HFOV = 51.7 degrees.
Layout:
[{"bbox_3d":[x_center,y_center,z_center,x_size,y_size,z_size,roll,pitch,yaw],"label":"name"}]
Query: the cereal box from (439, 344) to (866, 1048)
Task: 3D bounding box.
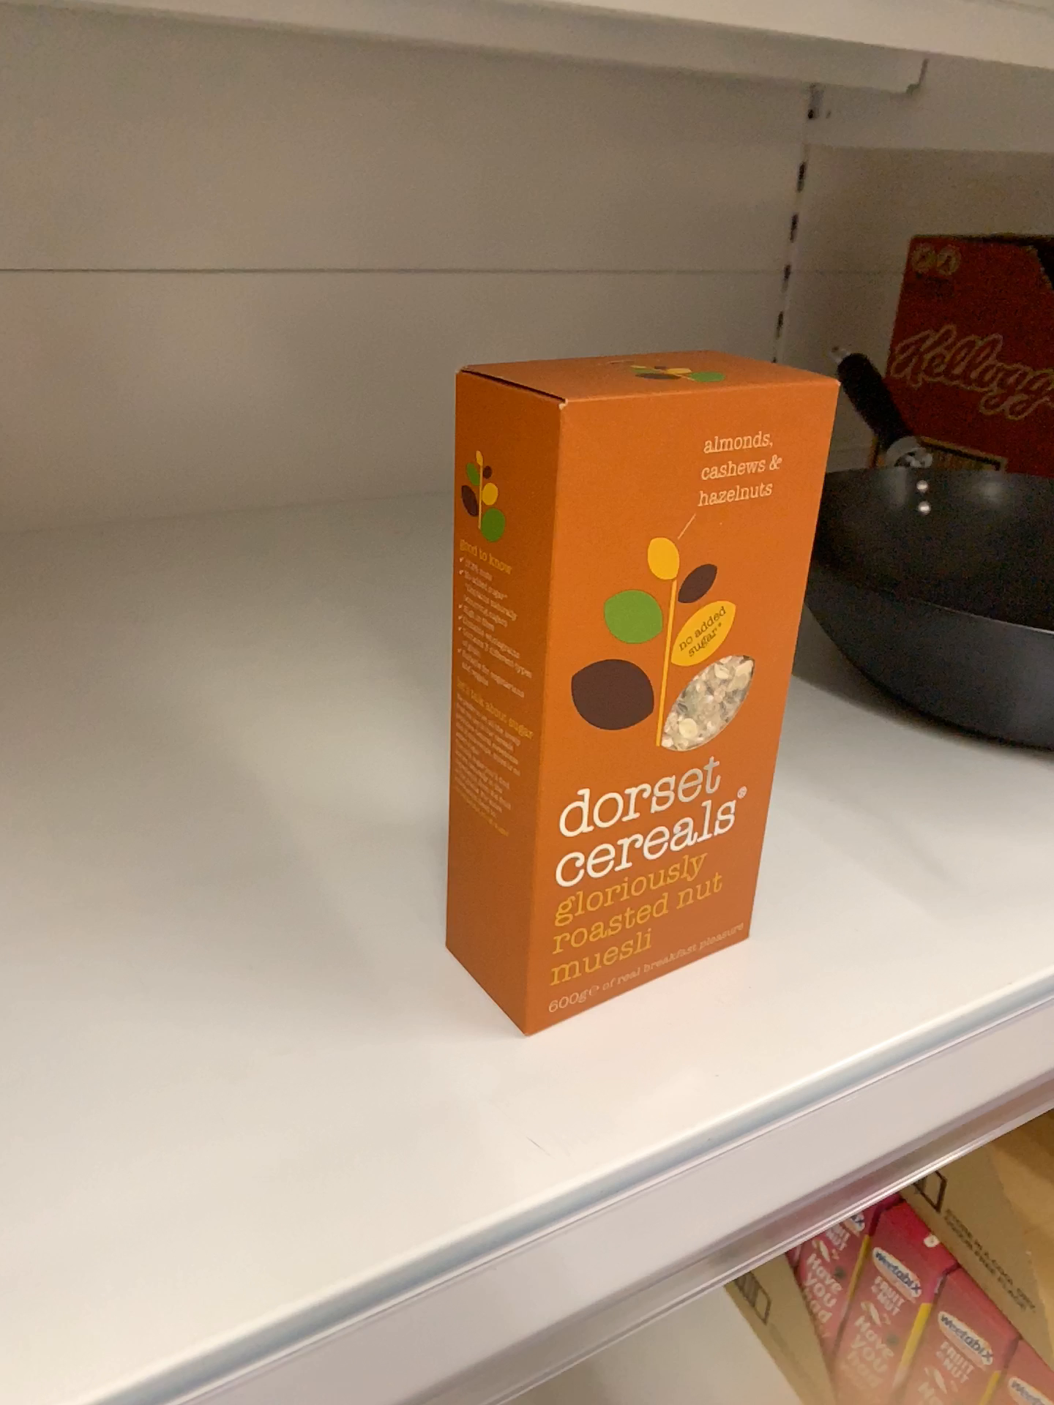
[{"bbox_3d":[0.038,-0.004,0.393,0.120,0.228,0.060,-14,31,-32],"label":"cereal box"}]
